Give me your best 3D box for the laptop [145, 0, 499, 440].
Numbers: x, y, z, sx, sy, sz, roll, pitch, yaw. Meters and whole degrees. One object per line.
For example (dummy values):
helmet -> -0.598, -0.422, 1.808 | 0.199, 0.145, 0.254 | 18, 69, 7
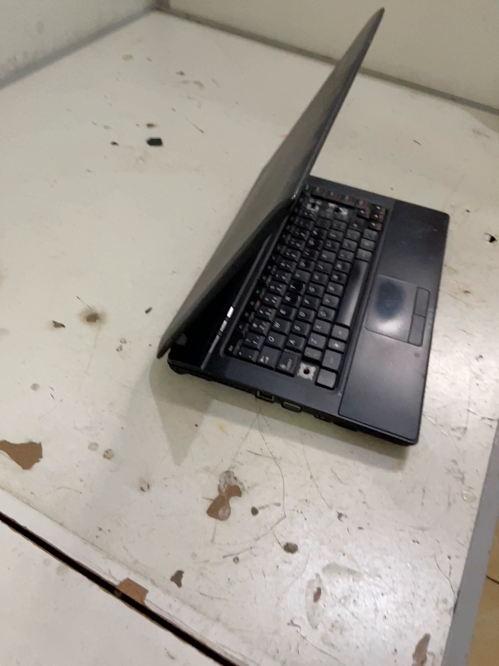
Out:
laptop -> 0.088, -0.128, 0.473 | 0.223, 0.194, 0.334 | 17, 50, 9
